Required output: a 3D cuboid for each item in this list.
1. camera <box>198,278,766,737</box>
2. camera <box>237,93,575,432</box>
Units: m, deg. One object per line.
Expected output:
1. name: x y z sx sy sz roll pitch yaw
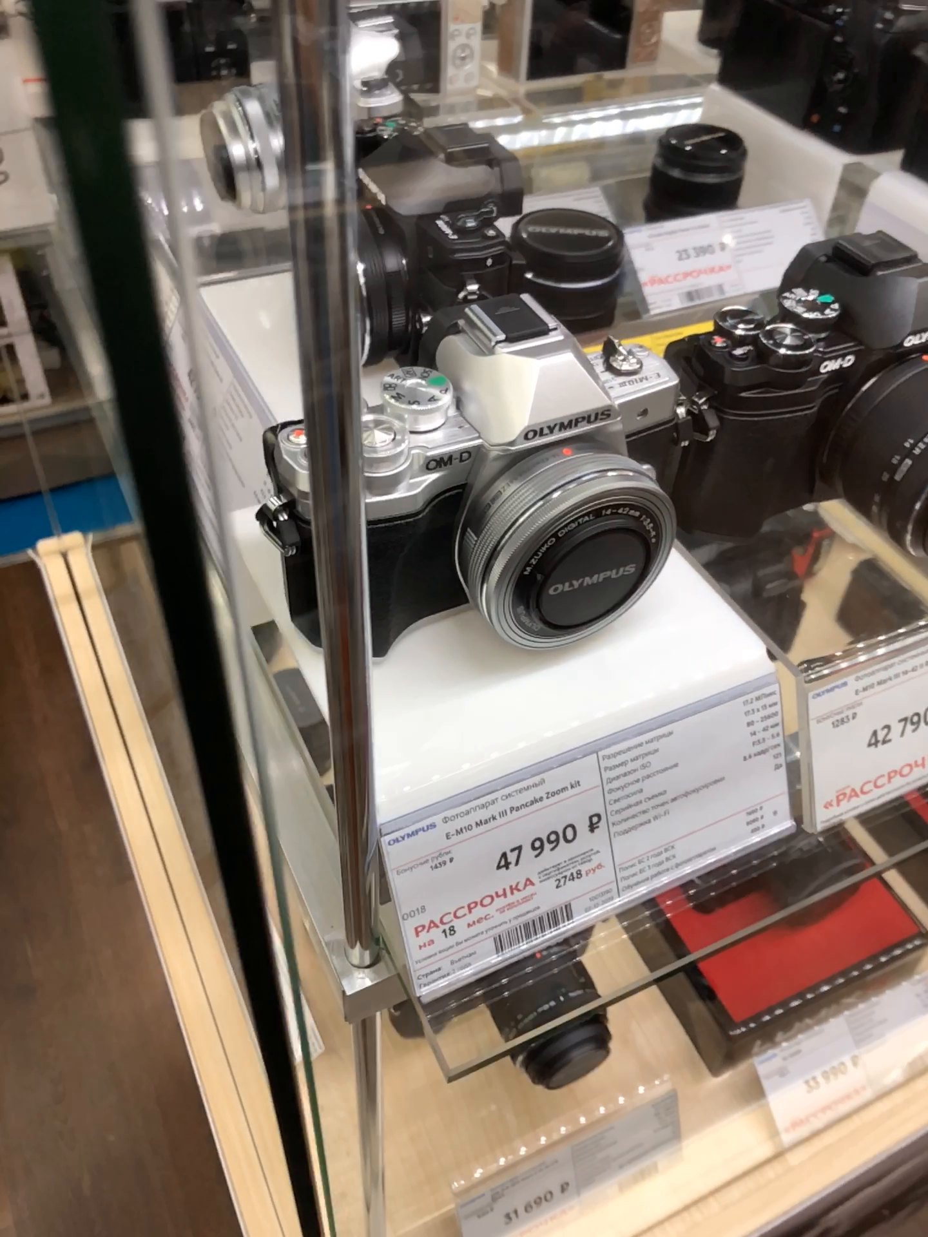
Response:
1. camera: 0.003 -0.035 0.280 0.122 0.067 0.073 -18 48 -21
2. camera: -0.025 -0.133 0.374 0.078 0.068 0.109 -17 48 -20
